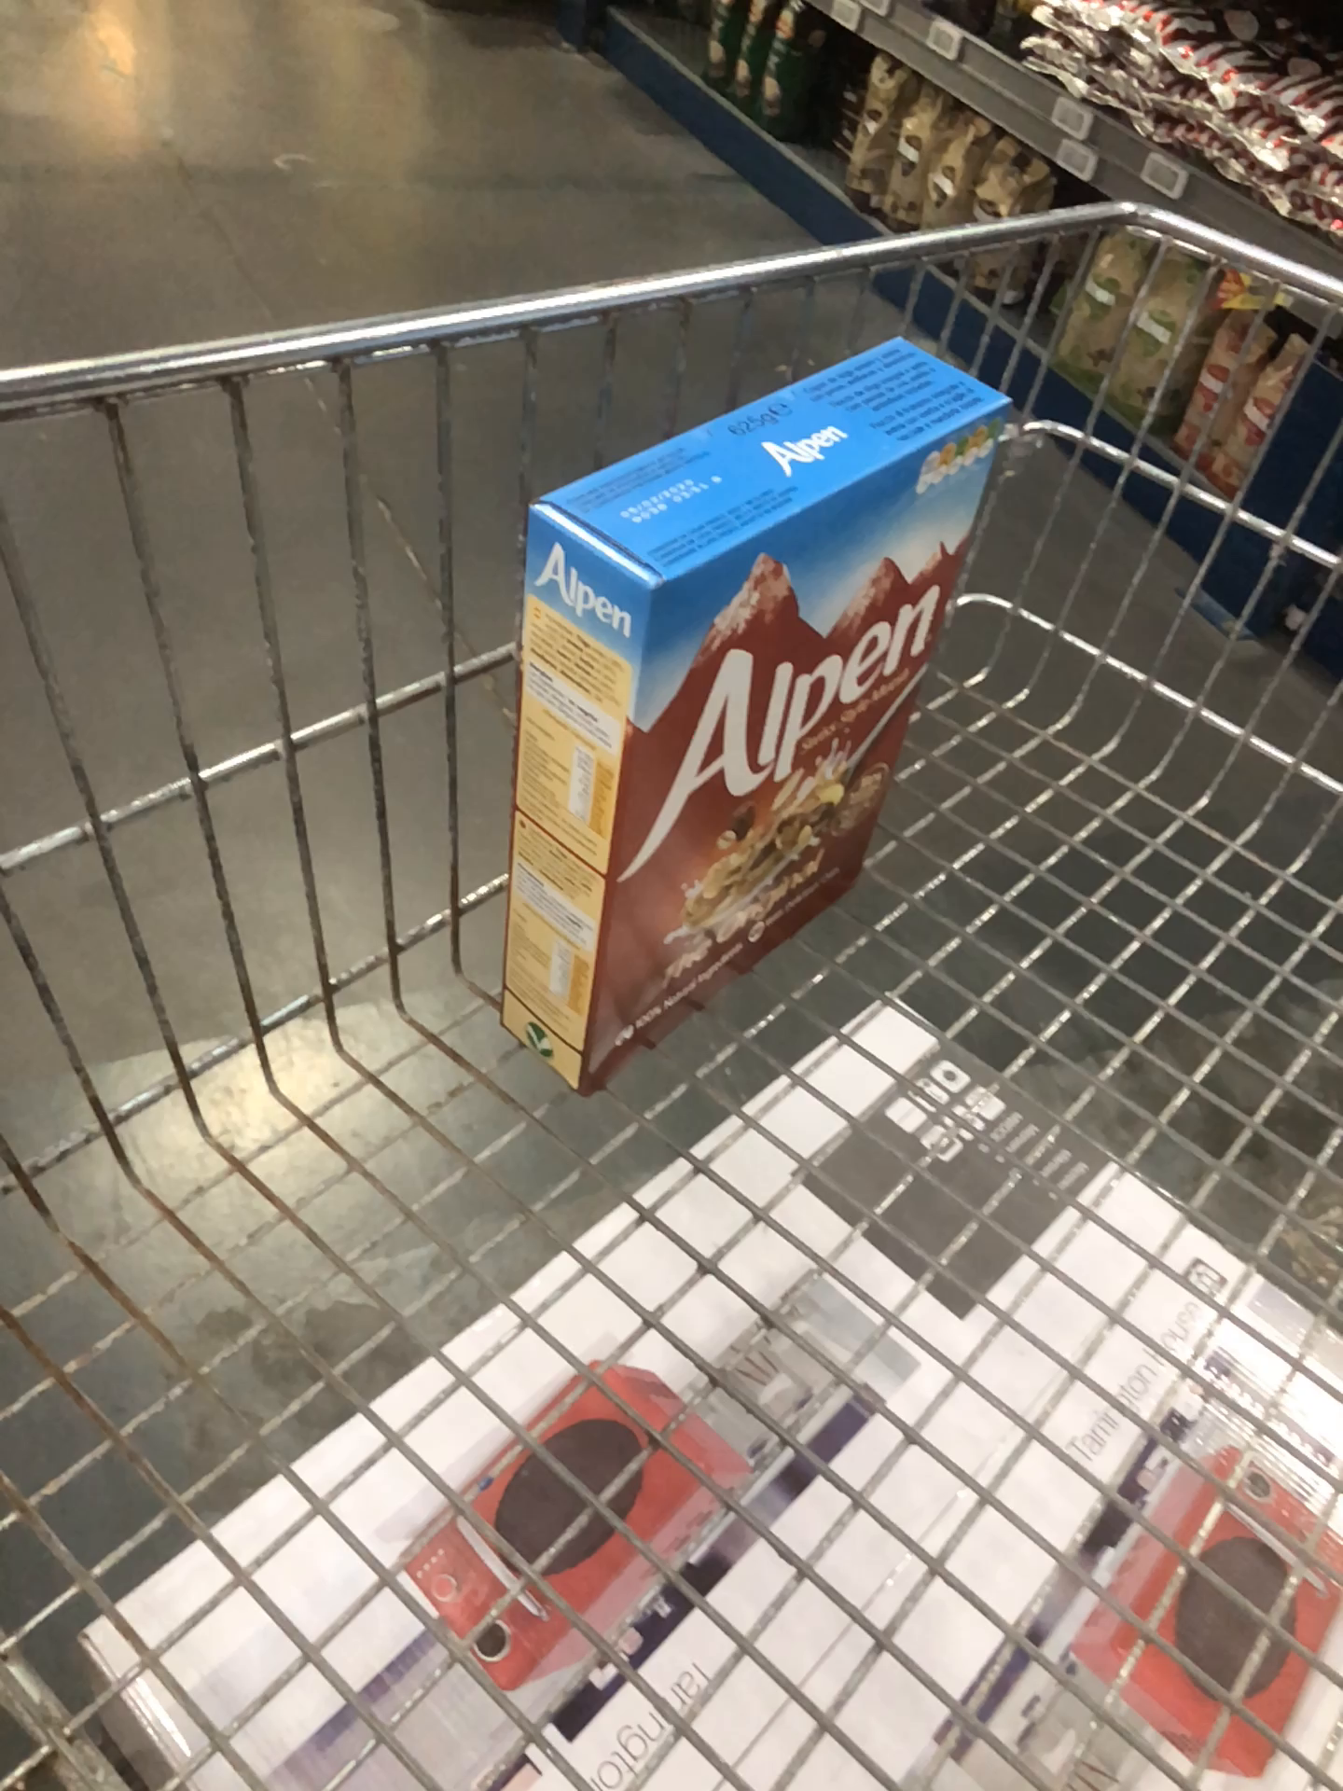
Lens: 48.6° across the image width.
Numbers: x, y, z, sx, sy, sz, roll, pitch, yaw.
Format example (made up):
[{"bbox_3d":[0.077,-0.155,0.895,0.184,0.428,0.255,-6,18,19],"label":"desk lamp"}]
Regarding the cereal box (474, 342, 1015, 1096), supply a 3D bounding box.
[{"bbox_3d":[0.020,-0.061,0.539,0.060,0.219,0.181,36,49,23],"label":"cereal box"}]
